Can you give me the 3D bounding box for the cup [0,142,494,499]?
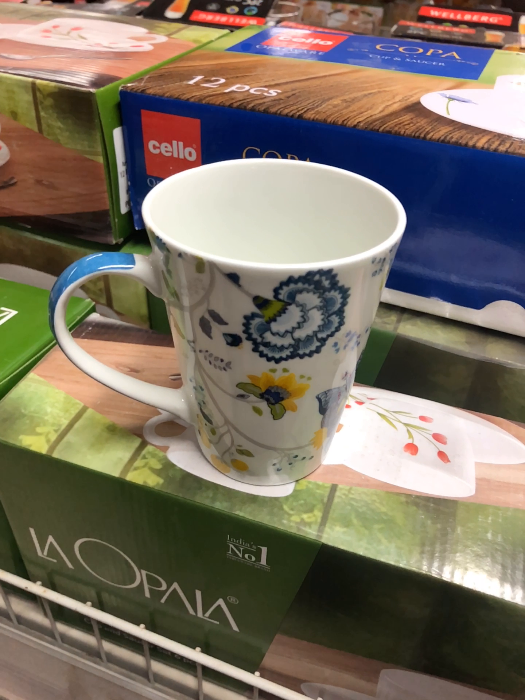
[{"bbox_3d":[-0.006,-0.011,0.182,0.110,0.079,0.070,-3,41,-5],"label":"cup"}]
